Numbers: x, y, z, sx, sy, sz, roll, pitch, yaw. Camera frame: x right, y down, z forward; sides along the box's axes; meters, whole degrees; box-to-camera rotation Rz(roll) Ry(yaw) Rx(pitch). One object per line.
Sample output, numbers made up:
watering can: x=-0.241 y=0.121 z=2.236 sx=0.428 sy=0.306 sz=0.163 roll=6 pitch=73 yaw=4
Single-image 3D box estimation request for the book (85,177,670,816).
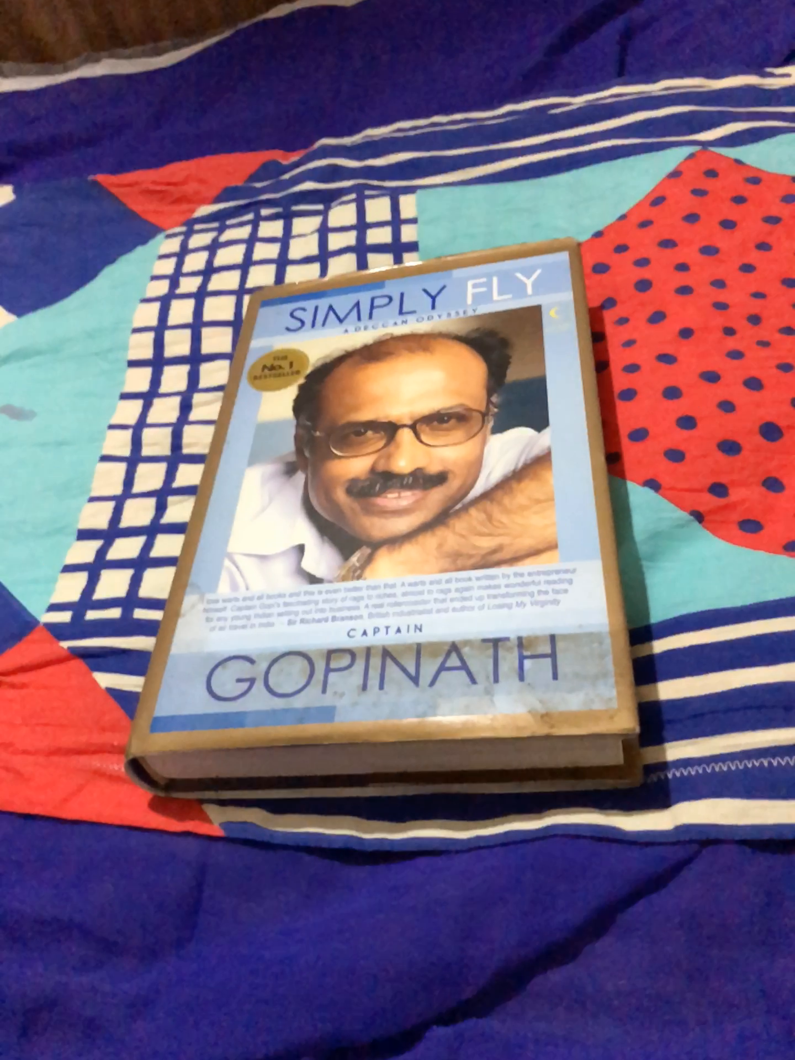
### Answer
book: x=0.000 y=-0.028 z=0.331 sx=0.160 sy=0.050 sz=0.251 roll=-5 pitch=52 yaw=11
